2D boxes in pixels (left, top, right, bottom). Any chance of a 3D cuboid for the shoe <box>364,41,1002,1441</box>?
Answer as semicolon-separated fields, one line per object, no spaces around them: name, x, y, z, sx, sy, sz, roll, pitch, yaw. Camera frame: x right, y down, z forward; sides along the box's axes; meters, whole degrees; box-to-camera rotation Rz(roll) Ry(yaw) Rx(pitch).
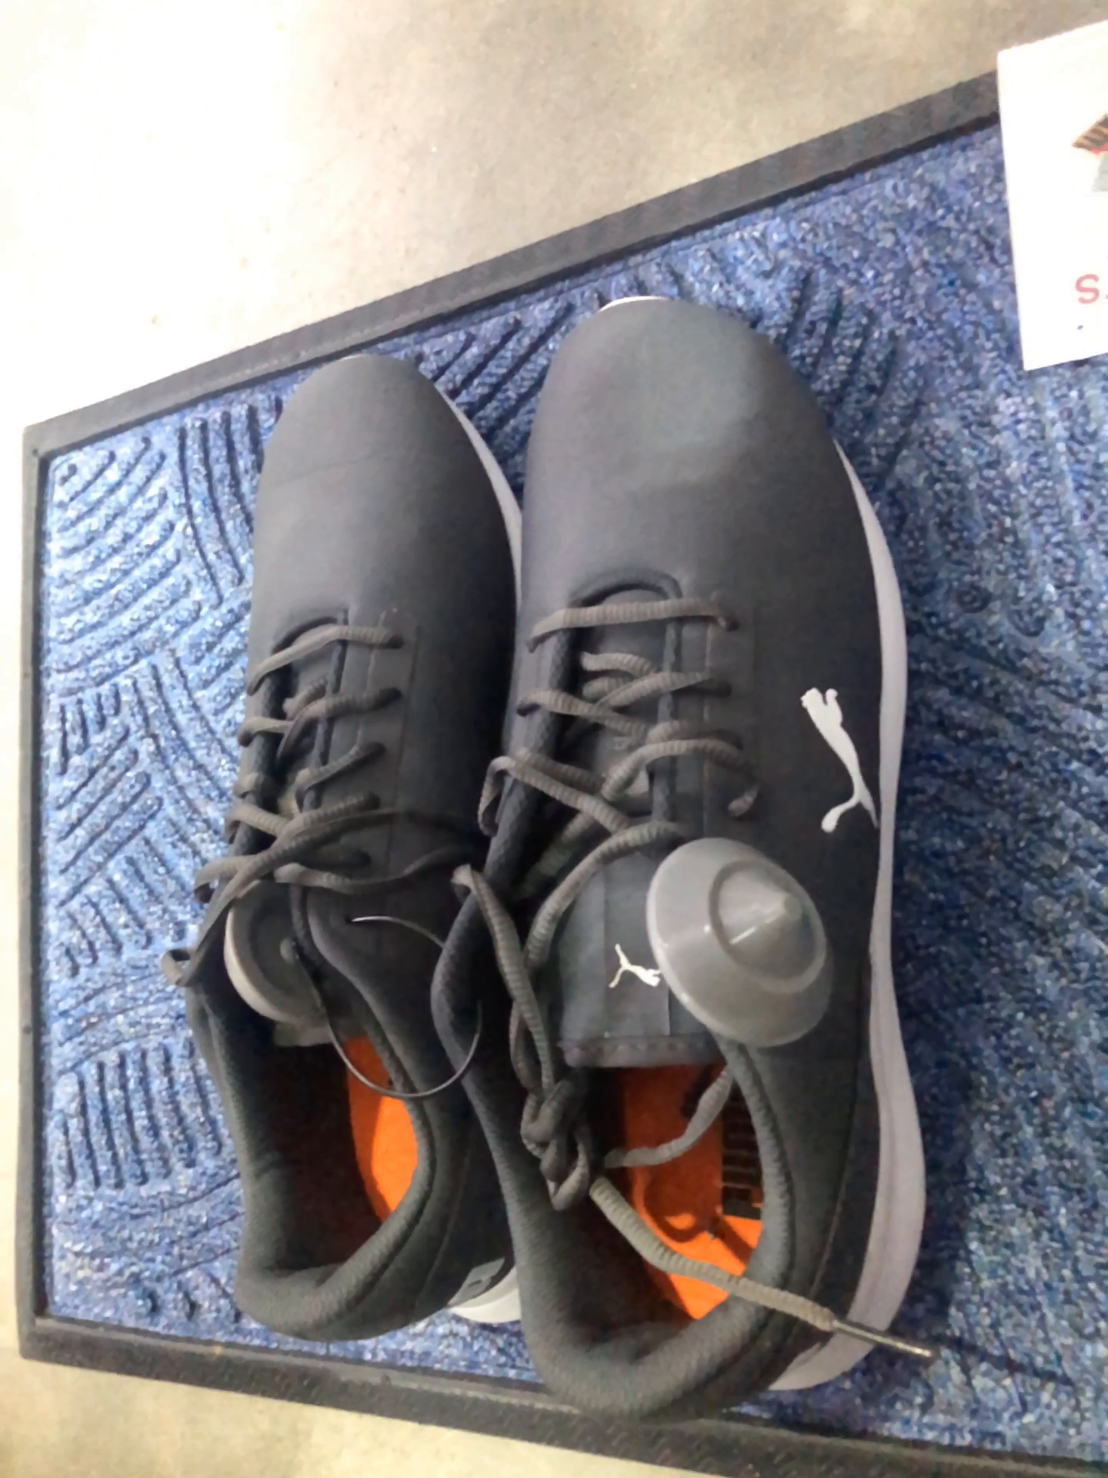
shoe;0.033;-0.001;0.324;0.100;0.100;0.300;-12;79;28

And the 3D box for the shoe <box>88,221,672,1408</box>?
shoe;-0.055;0.021;0.375;0.110;0.100;0.300;-13;78;28
